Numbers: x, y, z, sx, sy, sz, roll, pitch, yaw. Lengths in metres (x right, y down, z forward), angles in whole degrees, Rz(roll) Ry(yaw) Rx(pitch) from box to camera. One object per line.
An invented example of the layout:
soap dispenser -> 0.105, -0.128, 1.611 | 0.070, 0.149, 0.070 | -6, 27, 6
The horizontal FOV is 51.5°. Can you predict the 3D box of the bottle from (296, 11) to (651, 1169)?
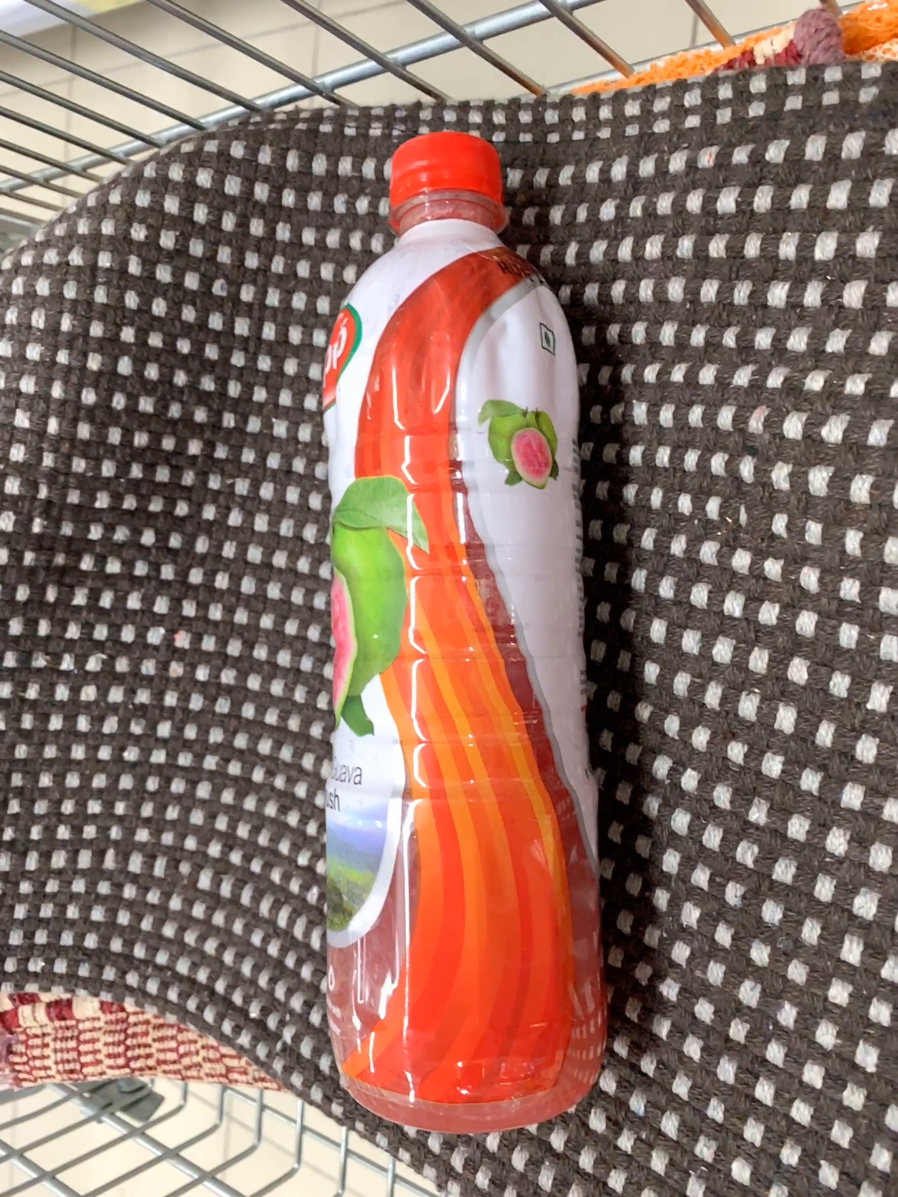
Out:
bottle -> 0.001, -0.005, 0.232 | 0.070, 0.070, 0.240 | 2, 84, -10
